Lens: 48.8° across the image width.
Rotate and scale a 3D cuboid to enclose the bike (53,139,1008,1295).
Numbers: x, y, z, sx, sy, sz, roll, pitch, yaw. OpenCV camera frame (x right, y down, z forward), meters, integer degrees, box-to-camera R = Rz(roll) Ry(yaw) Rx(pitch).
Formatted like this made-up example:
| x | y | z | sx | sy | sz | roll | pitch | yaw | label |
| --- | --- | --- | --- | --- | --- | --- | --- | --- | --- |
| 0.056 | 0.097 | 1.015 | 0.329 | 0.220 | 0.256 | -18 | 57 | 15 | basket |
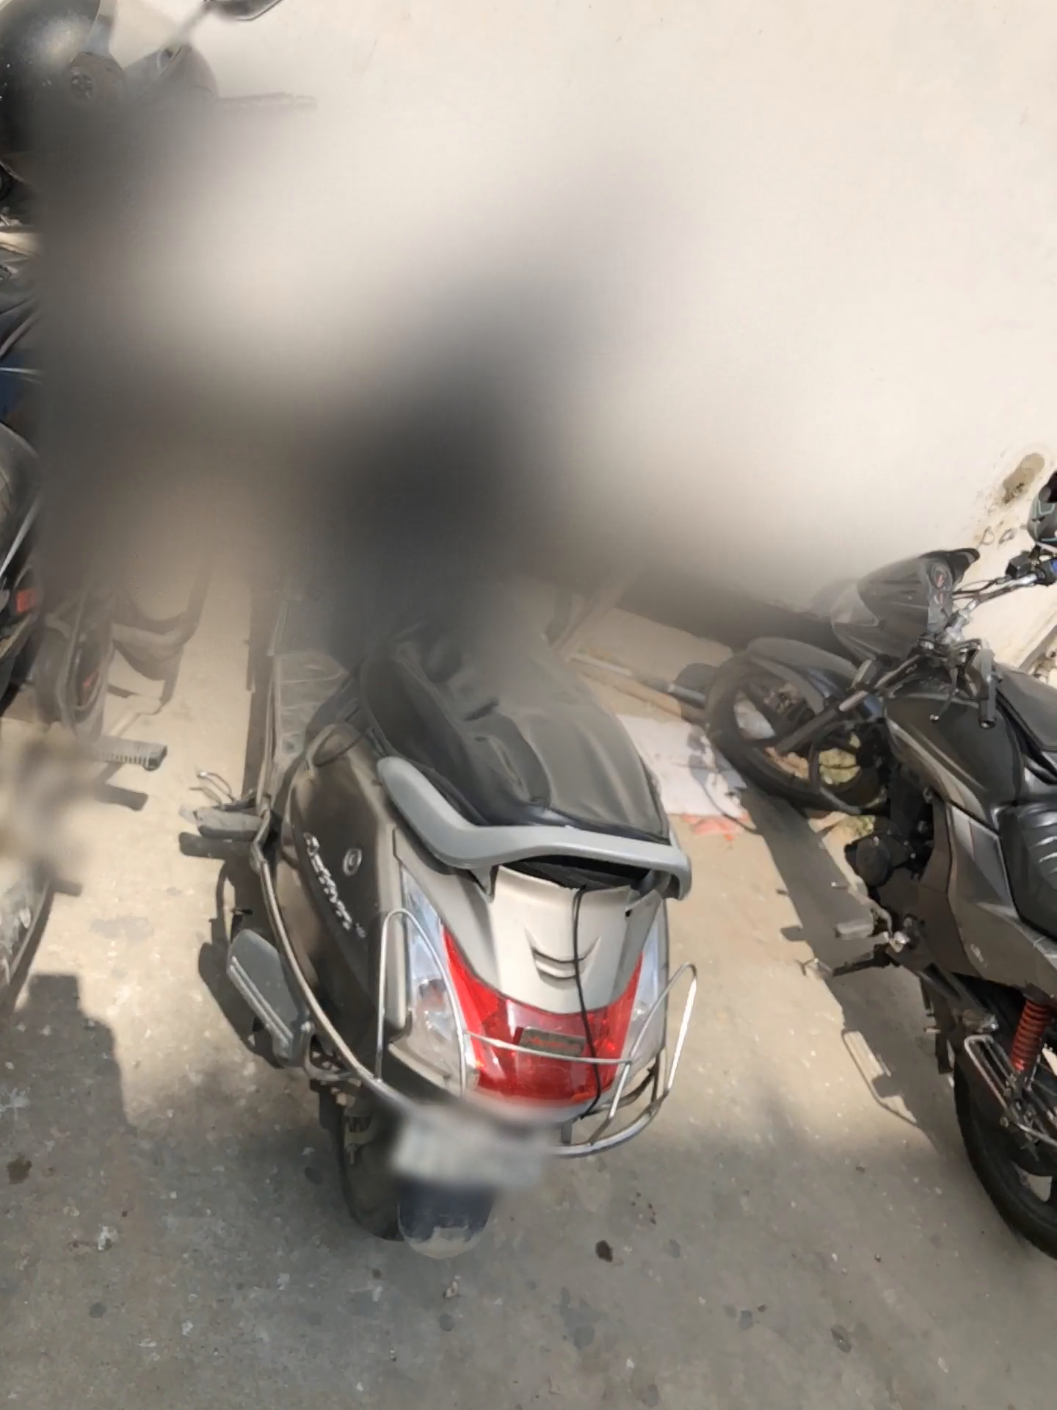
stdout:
| x | y | z | sx | sy | sz | roll | pitch | yaw | label |
| --- | --- | --- | --- | --- | --- | --- | --- | --- | --- |
| -0.166 | -0.071 | 1.909 | 0.616 | 1.108 | 1.506 | 21 | 30 | -27 | bike |
